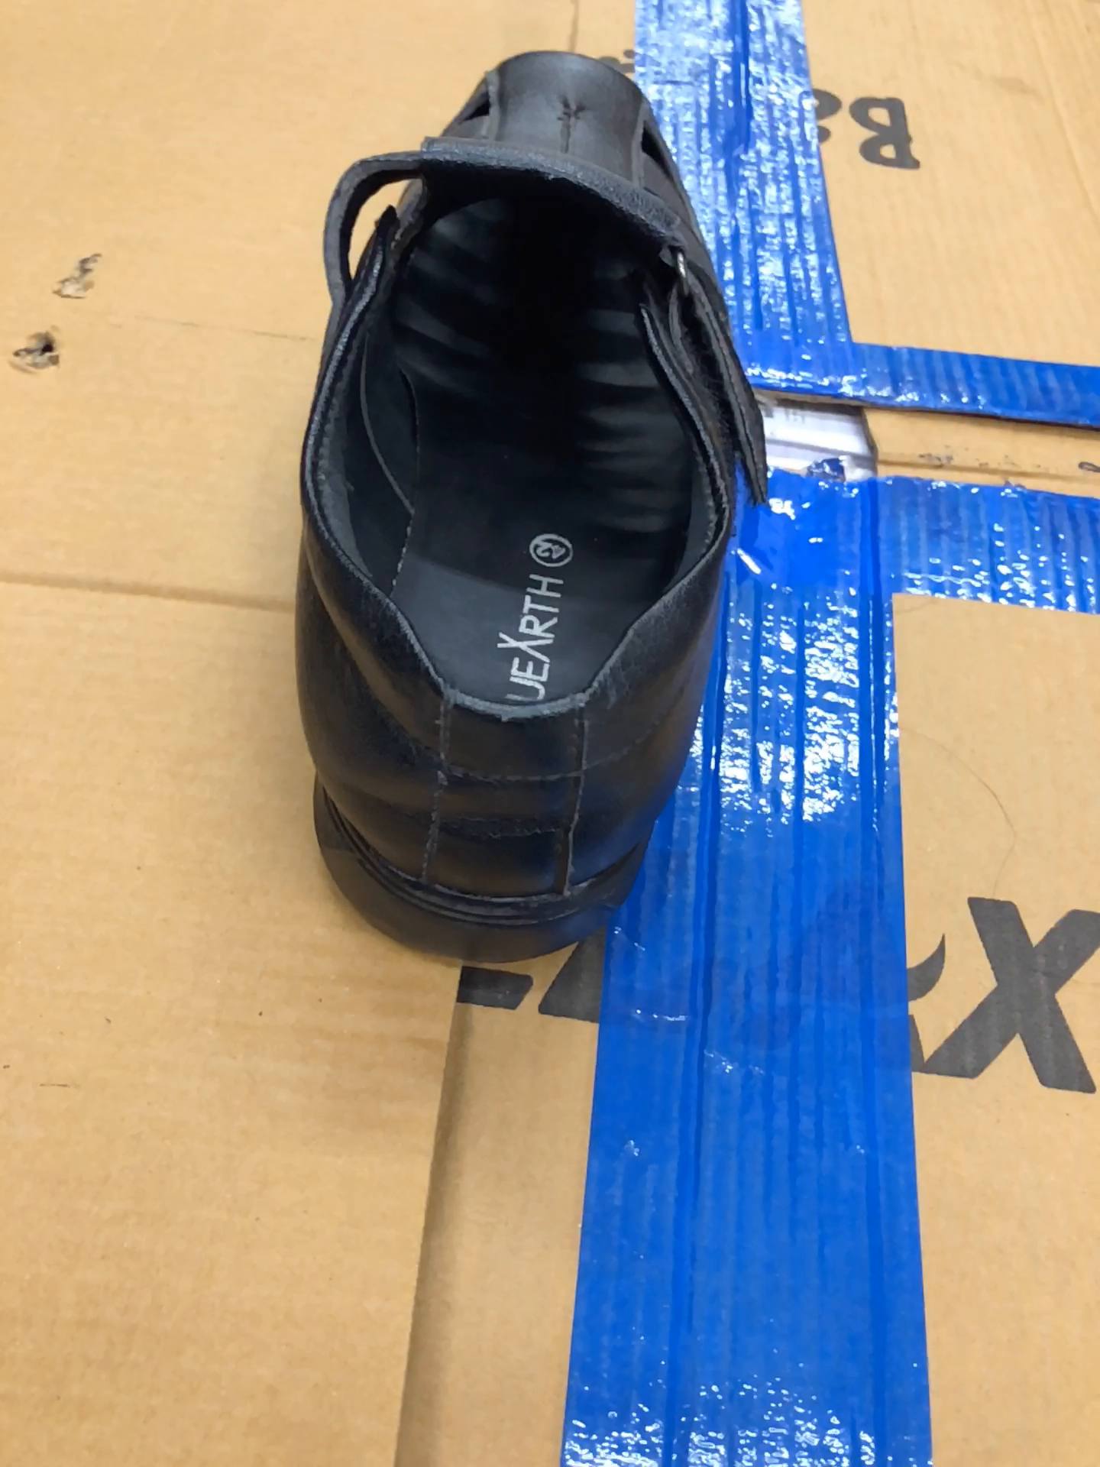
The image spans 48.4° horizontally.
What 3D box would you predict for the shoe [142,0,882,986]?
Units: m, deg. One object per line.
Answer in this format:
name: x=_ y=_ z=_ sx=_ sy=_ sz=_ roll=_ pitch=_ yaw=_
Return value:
shoe: x=-0.002 y=-0.105 z=0.289 sx=0.100 sy=0.099 sz=0.302 roll=5 pitch=57 yaw=-3
